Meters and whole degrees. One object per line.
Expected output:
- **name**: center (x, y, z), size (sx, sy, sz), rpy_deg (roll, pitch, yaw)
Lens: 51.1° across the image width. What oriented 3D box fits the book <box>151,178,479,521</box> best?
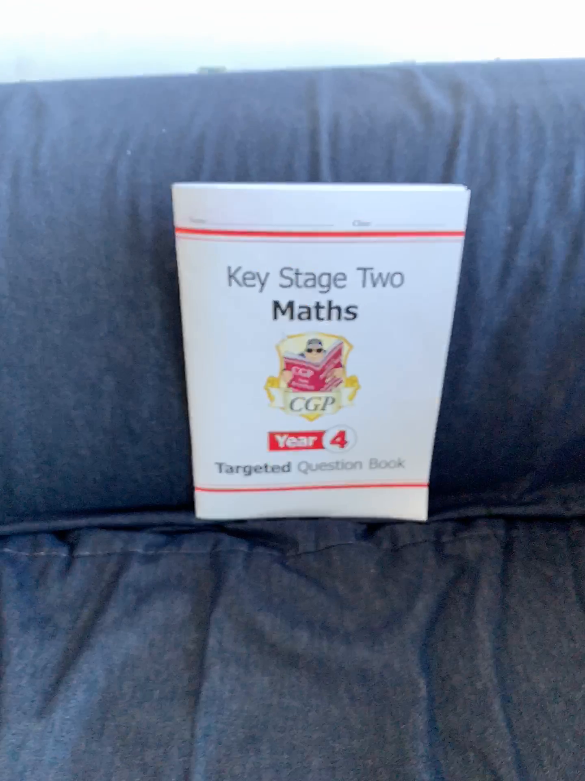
- **book**: center (0.017, -0.021, 0.474), size (0.220, 0.266, 0.030), rpy_deg (0, 22, 2)
